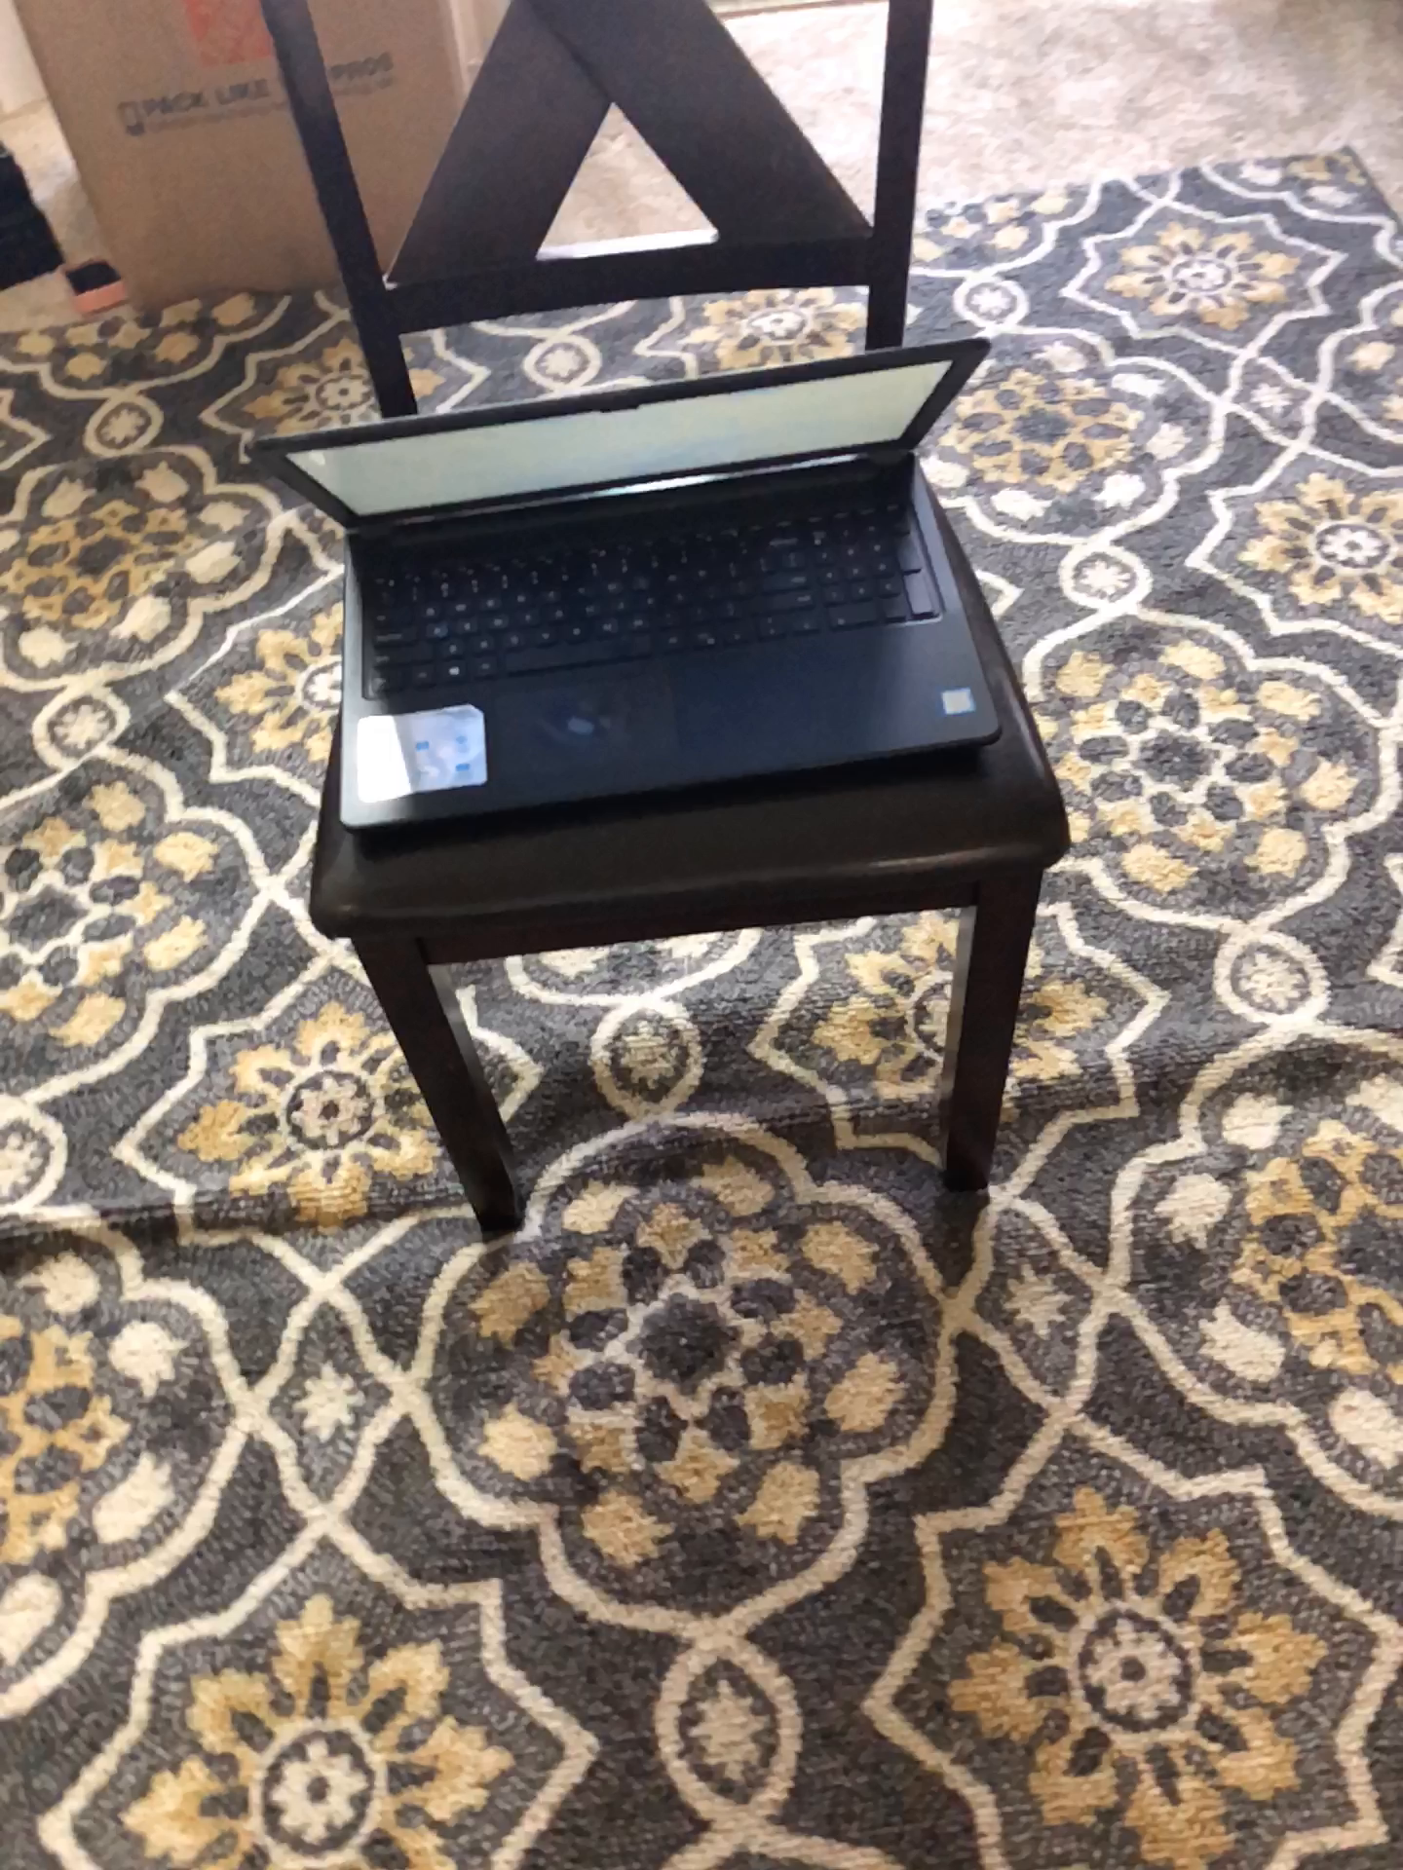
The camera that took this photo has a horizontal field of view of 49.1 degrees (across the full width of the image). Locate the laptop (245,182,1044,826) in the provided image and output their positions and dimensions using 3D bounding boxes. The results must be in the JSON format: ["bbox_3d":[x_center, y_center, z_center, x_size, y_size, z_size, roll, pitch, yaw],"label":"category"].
[{"bbox_3d":[-0.037,-0.238,0.843,0.366,0.186,0.245,-8,54,-2],"label":"laptop"}]
